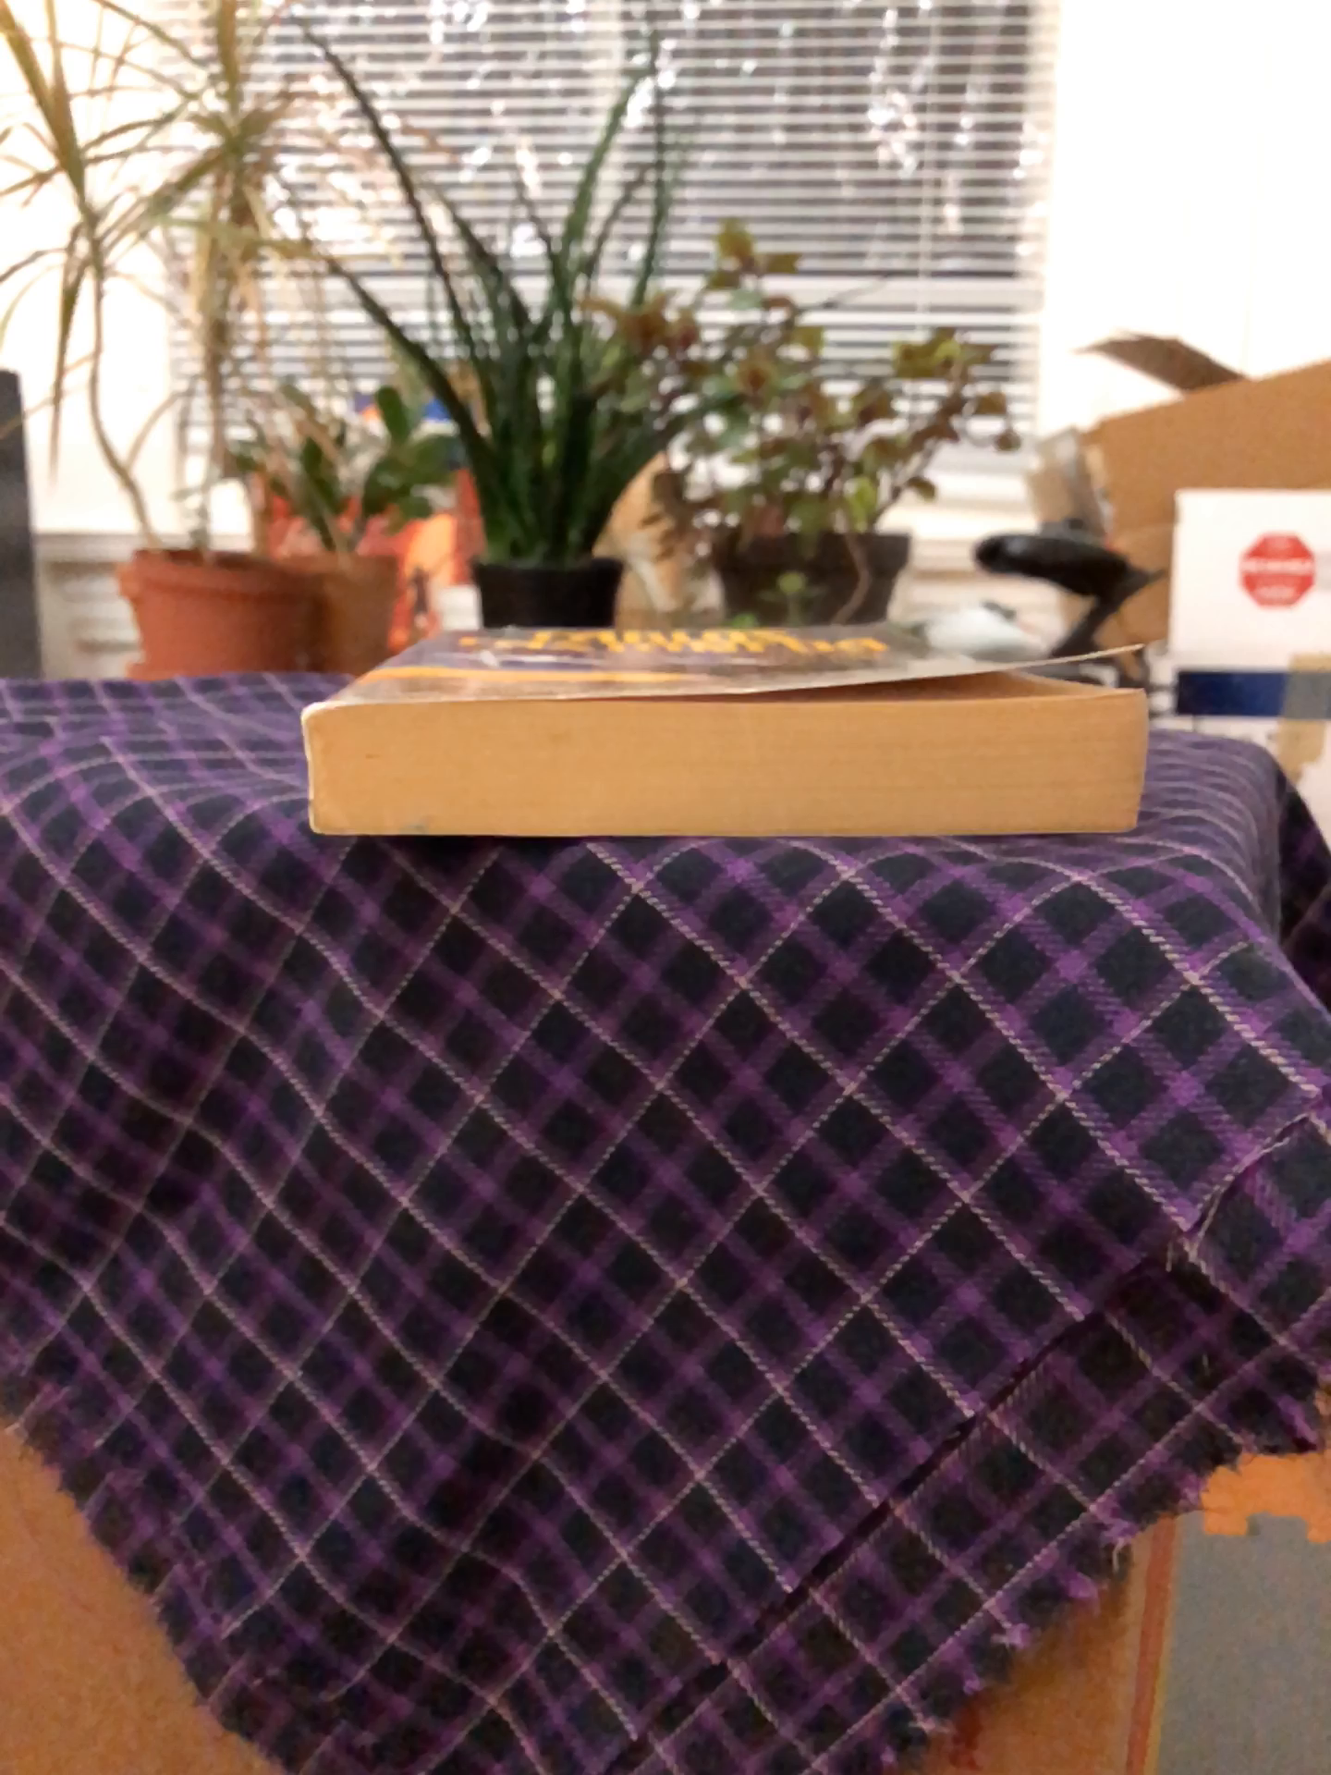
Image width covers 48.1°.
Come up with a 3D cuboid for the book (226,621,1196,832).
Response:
[{"bbox_3d":[0.003,-0.044,0.339,0.150,0.020,0.221,0,13,-3],"label":"book"}]
